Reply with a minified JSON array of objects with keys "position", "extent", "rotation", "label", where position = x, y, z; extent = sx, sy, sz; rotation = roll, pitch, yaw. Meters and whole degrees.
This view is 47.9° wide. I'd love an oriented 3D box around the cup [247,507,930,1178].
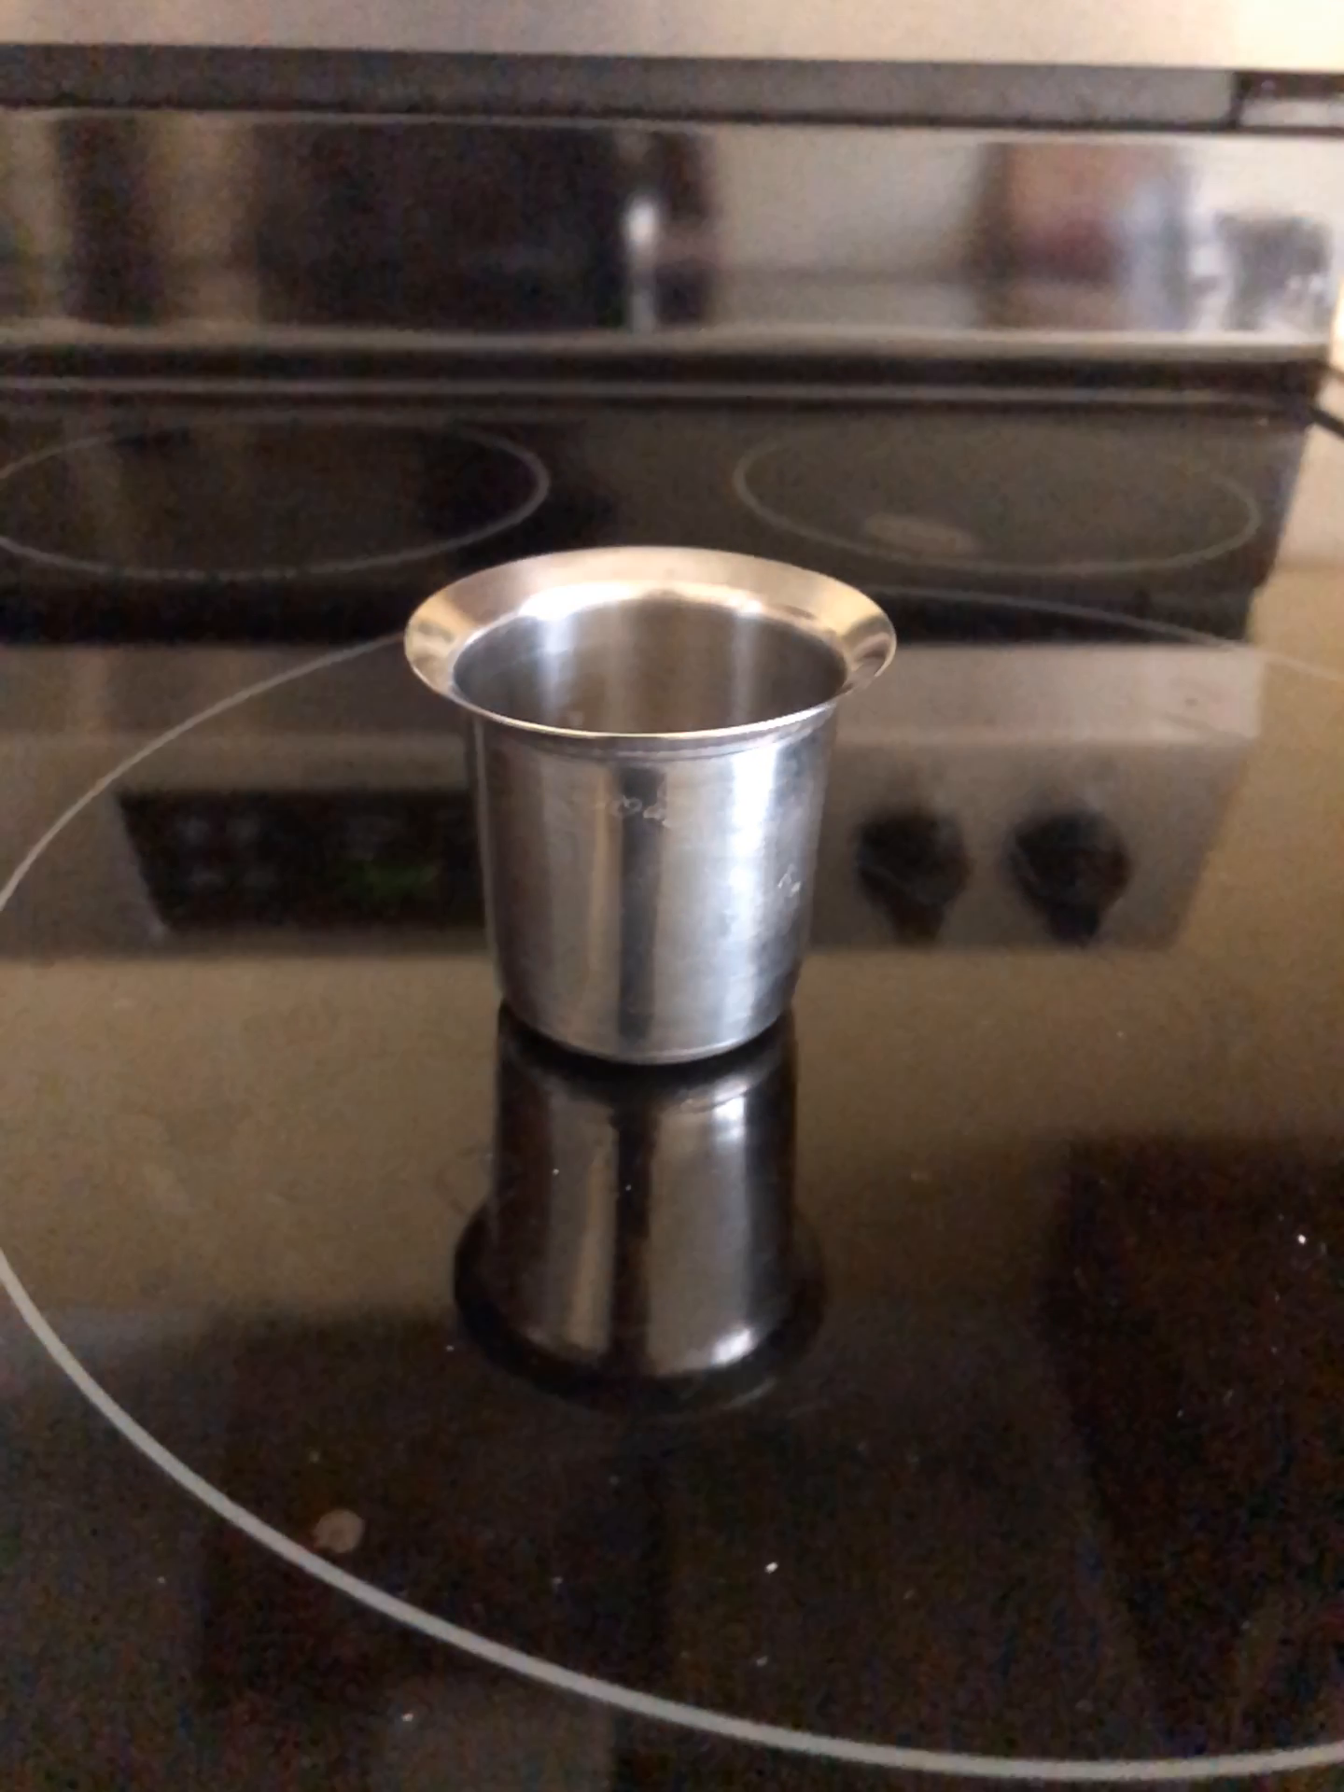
[{"position":[-0.006,-0.013,0.208],"extent":[0.066,0.056,0.073],"rotation":[1,30,0],"label":"cup"}]
